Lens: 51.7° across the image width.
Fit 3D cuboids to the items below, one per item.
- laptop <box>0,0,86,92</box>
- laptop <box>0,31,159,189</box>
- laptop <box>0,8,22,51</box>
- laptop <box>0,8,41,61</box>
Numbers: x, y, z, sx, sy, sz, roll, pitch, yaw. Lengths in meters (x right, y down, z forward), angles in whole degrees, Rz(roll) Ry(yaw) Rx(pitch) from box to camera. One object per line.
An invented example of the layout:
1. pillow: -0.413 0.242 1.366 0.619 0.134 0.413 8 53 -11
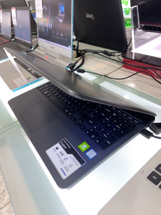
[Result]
1. laptop: -0.236 -0.305 0.704 0.331 0.240 0.370 -31 39 -20
2. laptop: -0.055 -0.055 0.399 0.231 0.146 0.367 -31 40 -21
3. laptop: -0.835 -0.739 1.556 0.379 0.230 0.298 -32 42 -22
4. laptop: -0.456 -0.449 0.991 0.263 0.195 0.300 -30 40 -20
